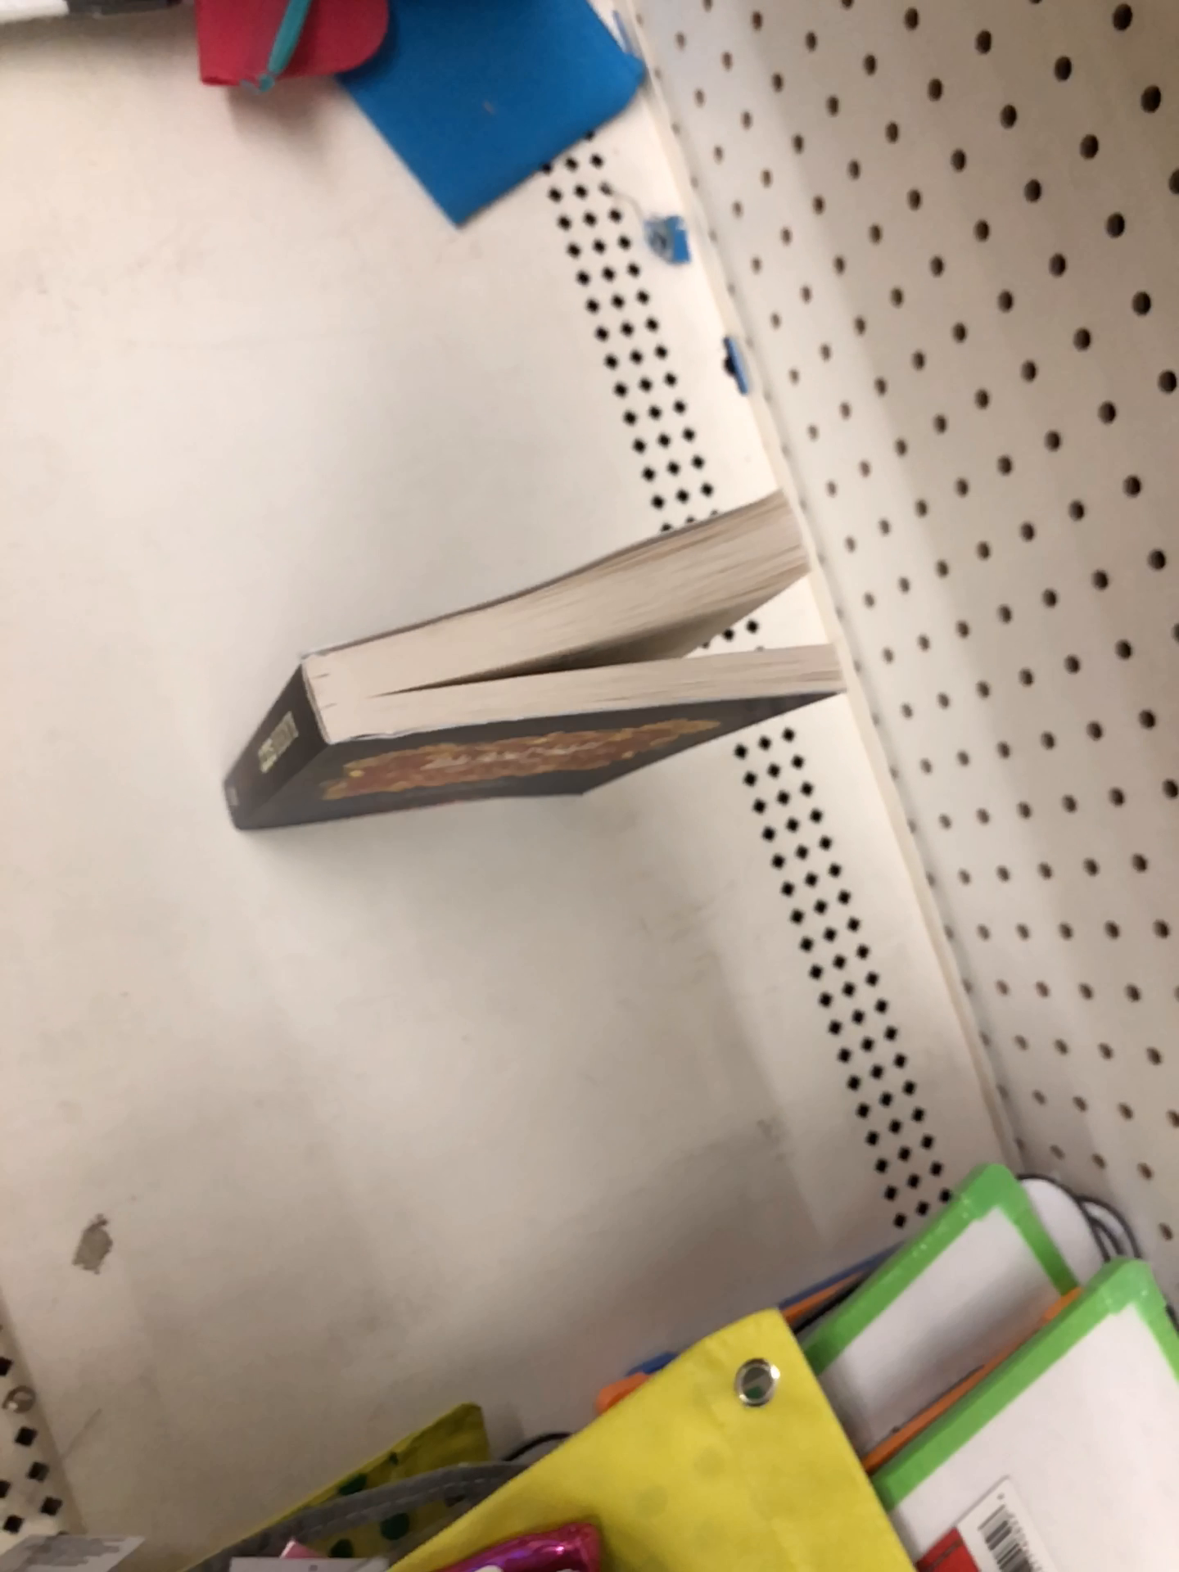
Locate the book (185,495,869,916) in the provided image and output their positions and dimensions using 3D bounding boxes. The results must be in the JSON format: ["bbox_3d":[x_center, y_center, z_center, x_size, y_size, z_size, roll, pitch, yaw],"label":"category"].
[{"bbox_3d":[-0.037,-0.015,0.414,0.150,0.205,0.059,-15,86,-22],"label":"book"}]
